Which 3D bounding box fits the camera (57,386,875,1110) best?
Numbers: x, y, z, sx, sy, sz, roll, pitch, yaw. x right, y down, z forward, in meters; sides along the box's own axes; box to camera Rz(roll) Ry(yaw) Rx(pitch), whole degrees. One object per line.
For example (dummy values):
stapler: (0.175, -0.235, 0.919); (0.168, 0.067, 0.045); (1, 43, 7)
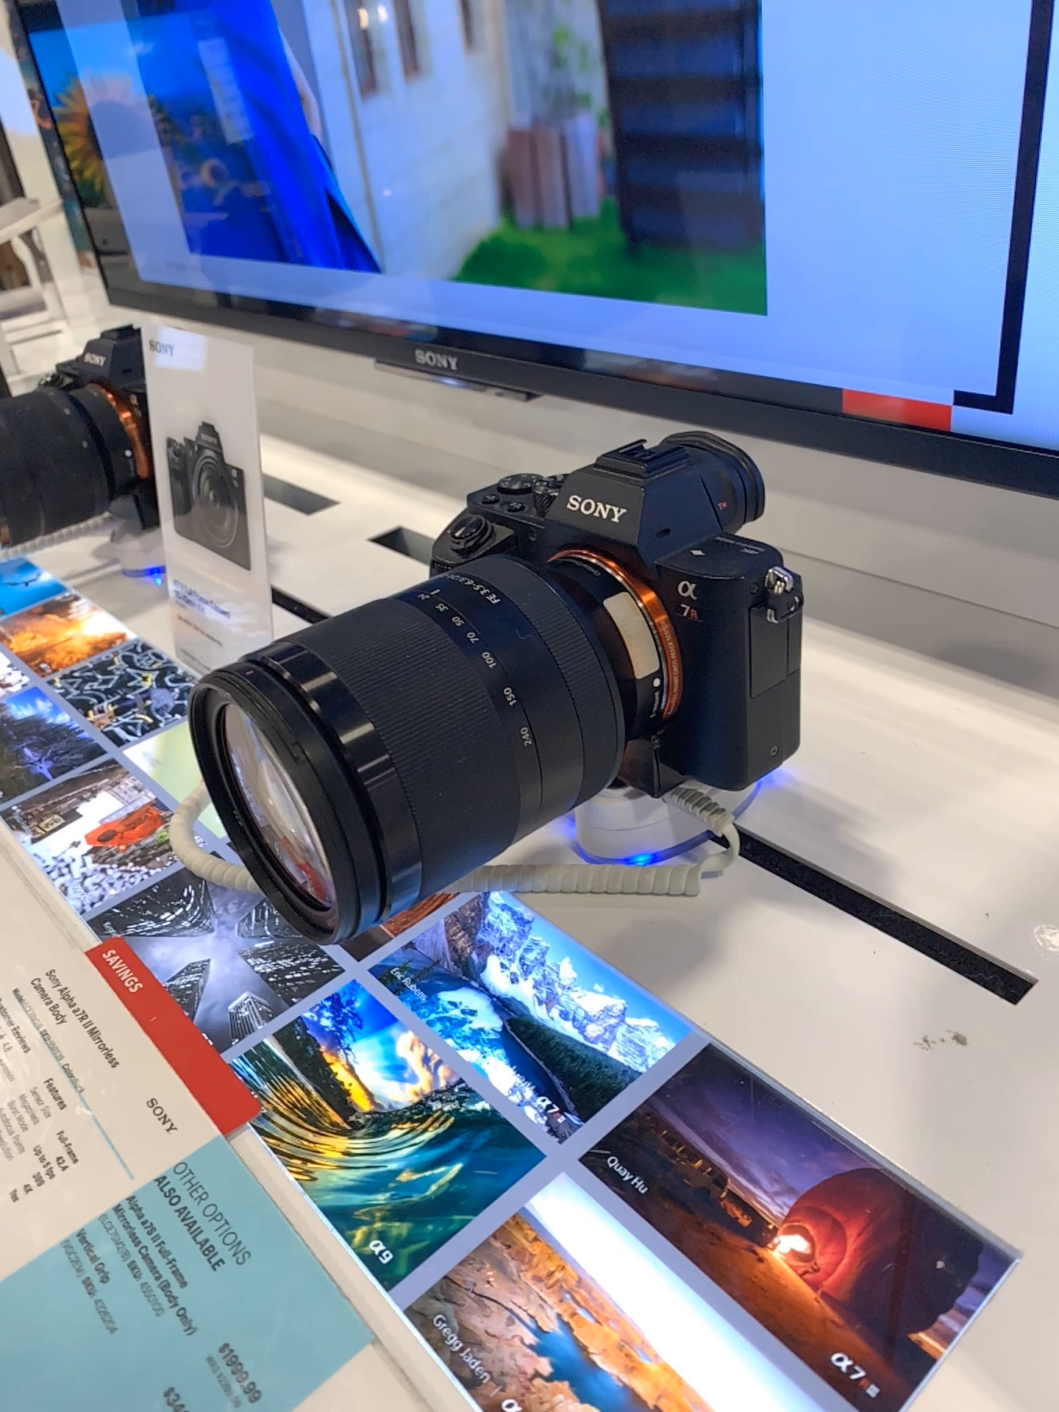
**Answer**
camera: (-0.010, -0.009, 0.310); (0.172, 0.099, 0.131); (-30, 37, -31)
